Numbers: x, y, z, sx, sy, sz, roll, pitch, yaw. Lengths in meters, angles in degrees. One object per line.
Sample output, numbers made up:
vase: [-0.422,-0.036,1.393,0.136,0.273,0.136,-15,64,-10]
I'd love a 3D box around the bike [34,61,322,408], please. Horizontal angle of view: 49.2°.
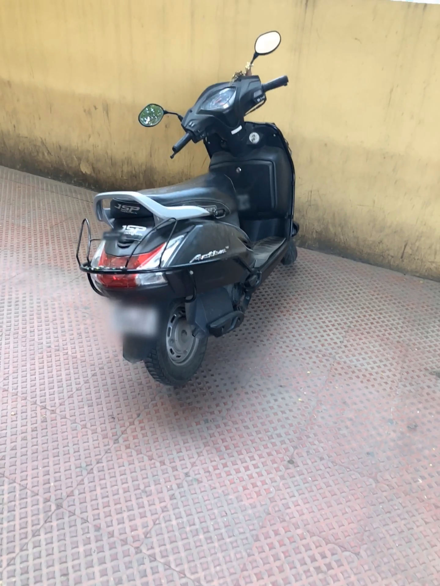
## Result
bike: [-0.040,-0.446,2.292,0.593,1.044,1.591,14,32,16]
